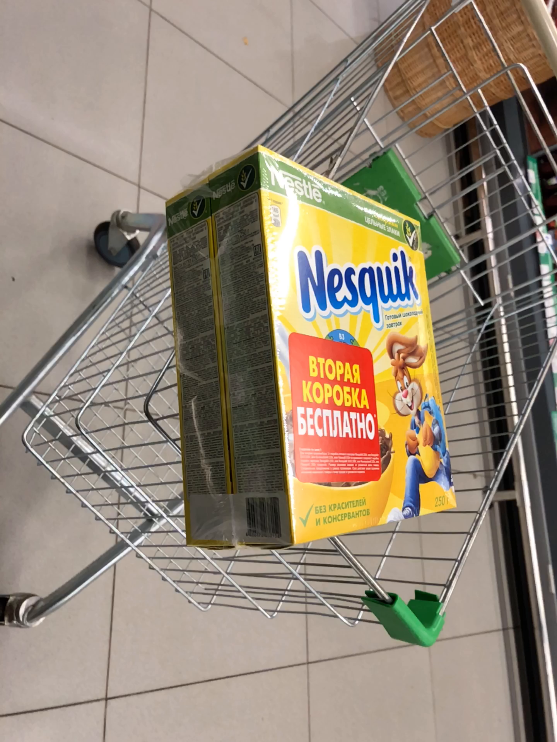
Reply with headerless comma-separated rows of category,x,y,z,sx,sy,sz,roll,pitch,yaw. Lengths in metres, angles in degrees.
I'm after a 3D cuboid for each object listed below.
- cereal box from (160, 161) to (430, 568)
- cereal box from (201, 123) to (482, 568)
cereal box,0.021,0.000,0.449,0.211,0.050,0.240,5,75,-49
cereal box,0.053,-0.010,0.418,0.211,0.050,0.240,5,75,-49
